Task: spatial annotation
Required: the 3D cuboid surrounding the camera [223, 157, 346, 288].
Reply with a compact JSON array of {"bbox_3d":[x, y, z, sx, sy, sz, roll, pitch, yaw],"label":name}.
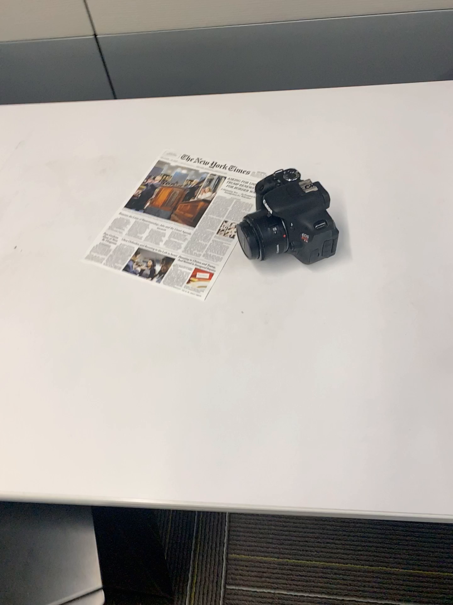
[{"bbox_3d":[0.073,-0.105,0.607,0.114,0.090,0.109,-21,56,-8],"label":"camera"}]
